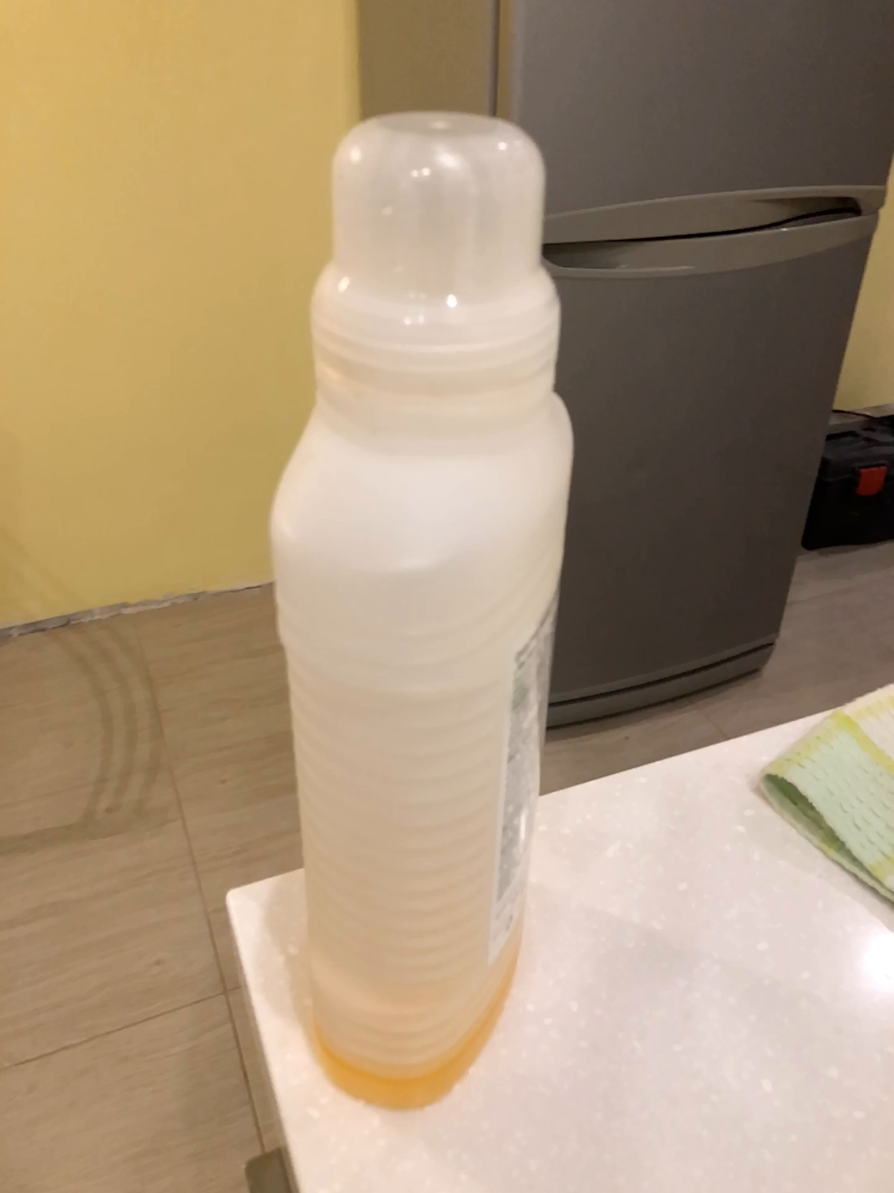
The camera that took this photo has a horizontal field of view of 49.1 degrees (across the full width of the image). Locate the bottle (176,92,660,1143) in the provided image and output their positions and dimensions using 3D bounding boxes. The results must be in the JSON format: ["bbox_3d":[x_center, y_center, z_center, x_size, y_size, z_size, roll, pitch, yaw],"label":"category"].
[{"bbox_3d":[0.000,0.019,0.265,0.061,0.264,0.102,12,36,16],"label":"bottle"}]
